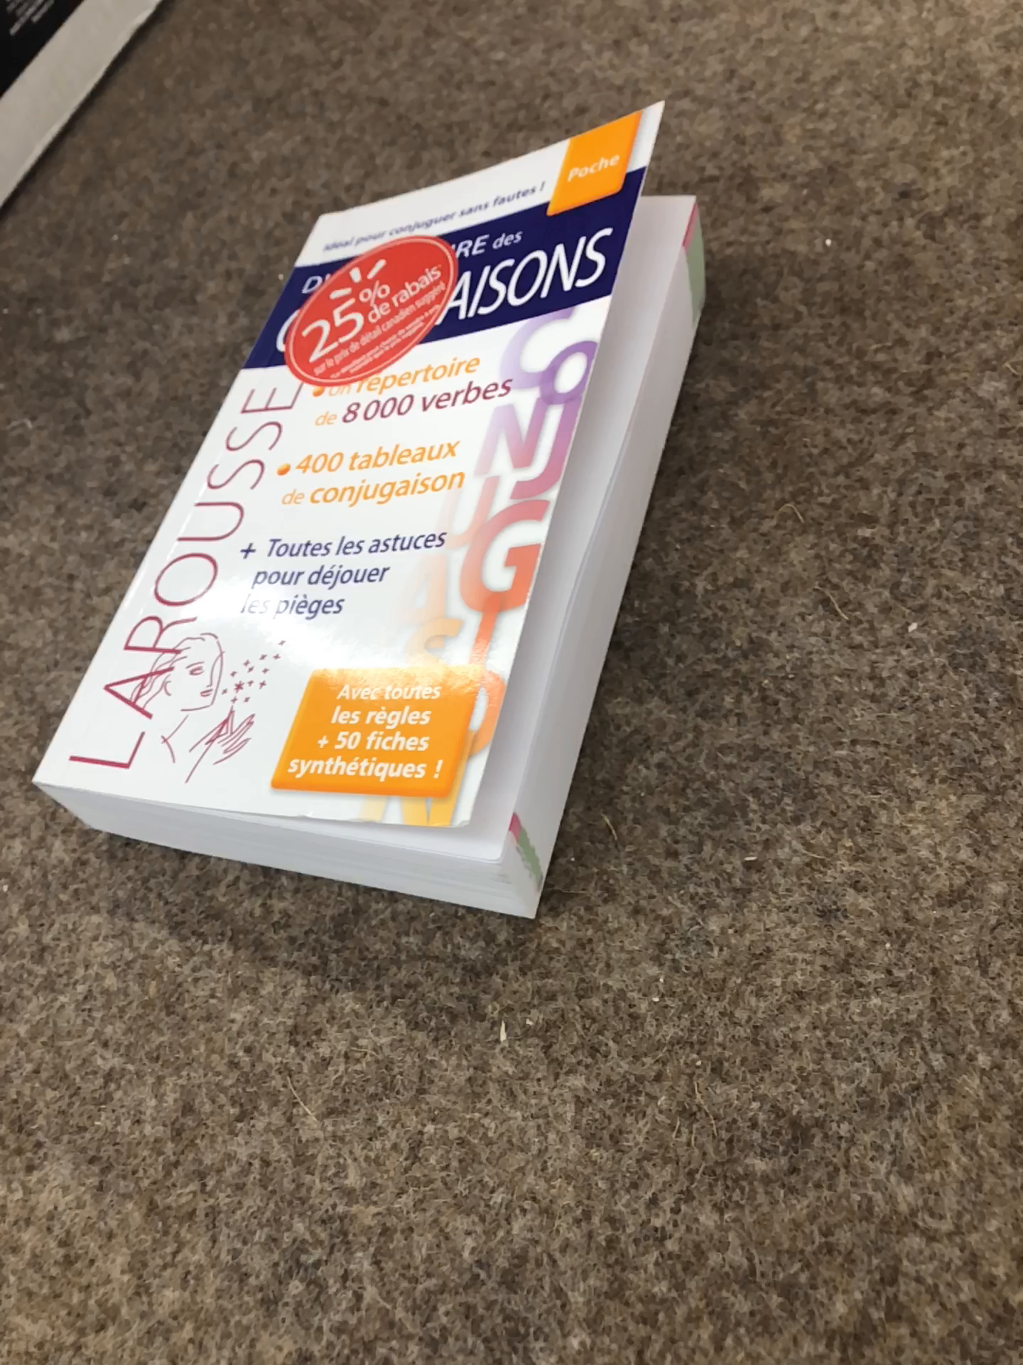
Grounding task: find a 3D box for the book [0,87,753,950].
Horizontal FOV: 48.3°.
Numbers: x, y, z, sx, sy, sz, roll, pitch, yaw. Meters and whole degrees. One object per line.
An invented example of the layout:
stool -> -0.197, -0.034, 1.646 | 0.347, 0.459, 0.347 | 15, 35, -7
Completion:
book -> -0.023, -0.050, 0.284 | 0.124, 0.059, 0.199 | 5, 62, 24
